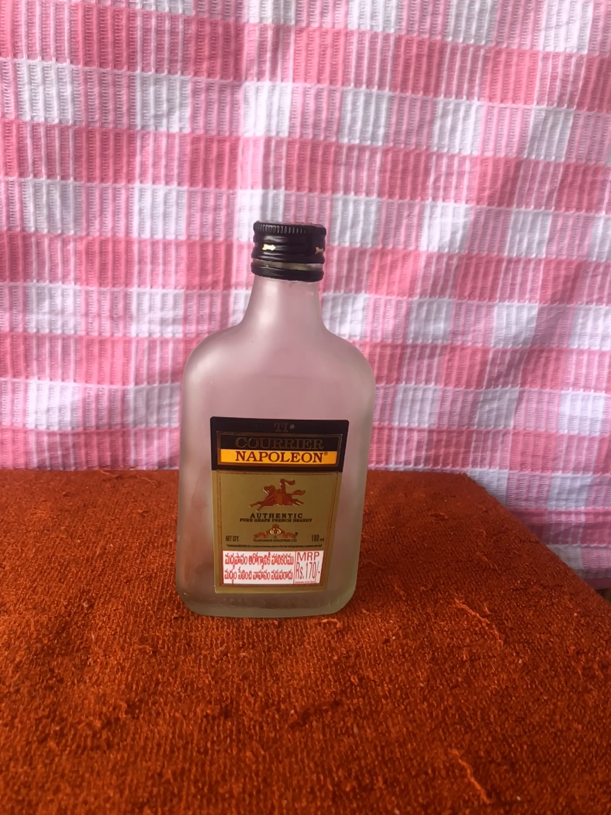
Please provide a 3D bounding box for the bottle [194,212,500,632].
[{"bbox_3d":[0.006,0.006,0.233,0.080,0.129,0.050,3,18,-10],"label":"bottle"}]
